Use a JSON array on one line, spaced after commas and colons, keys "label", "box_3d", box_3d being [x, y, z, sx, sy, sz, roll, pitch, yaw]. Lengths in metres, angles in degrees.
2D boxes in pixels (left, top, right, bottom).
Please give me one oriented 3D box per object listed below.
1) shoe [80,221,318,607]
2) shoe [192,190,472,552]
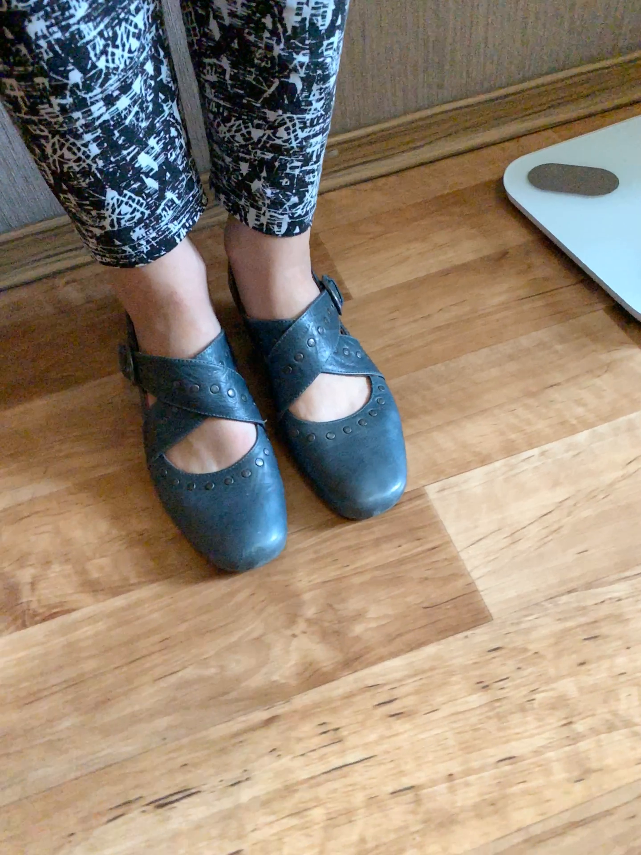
[{"label": "shoe", "box_3d": [-0.088, -0.021, 0.445, 0.090, 0.100, 0.241, -19, 51, -7]}, {"label": "shoe", "box_3d": [-0.001, -0.053, 0.474, 0.090, 0.100, 0.251, -23, 52, -10]}]
